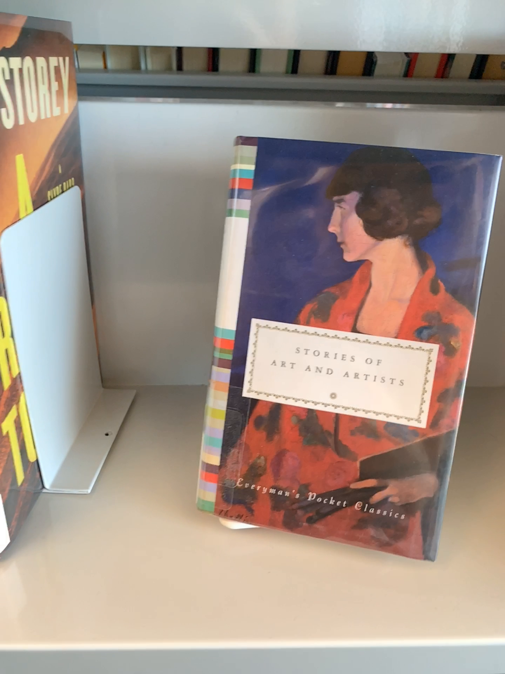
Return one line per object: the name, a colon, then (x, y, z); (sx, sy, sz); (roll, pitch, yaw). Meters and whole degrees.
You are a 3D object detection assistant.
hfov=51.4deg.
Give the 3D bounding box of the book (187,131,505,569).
book: (0.045, 0.004, 0.263); (0.129, 0.187, 0.040); (9, 8, 11)
